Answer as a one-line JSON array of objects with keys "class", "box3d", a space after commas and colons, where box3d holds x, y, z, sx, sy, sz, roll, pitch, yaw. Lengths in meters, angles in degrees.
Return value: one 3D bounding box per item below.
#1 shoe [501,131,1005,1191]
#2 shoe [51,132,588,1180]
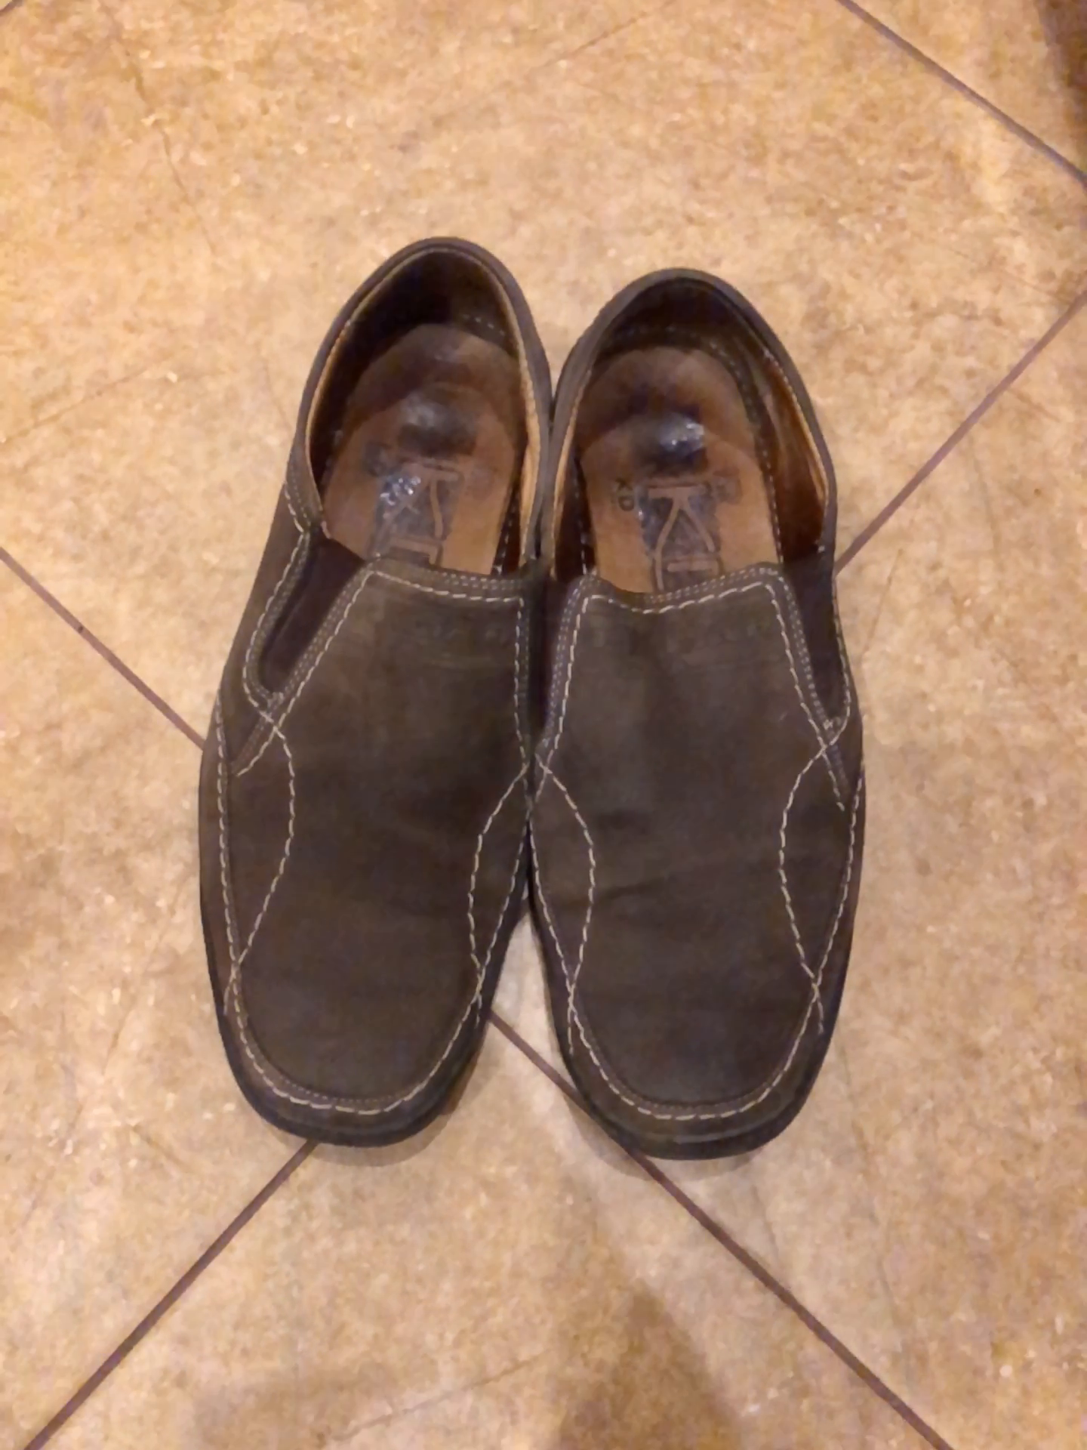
[{"class": "shoe", "box3d": [0.049, -0.023, 0.369, 0.120, 0.090, 0.301, 1, 74, -2]}, {"class": "shoe", "box3d": [-0.054, -0.025, 0.377, 0.120, 0.090, 0.301, 3, 74, -1]}]
